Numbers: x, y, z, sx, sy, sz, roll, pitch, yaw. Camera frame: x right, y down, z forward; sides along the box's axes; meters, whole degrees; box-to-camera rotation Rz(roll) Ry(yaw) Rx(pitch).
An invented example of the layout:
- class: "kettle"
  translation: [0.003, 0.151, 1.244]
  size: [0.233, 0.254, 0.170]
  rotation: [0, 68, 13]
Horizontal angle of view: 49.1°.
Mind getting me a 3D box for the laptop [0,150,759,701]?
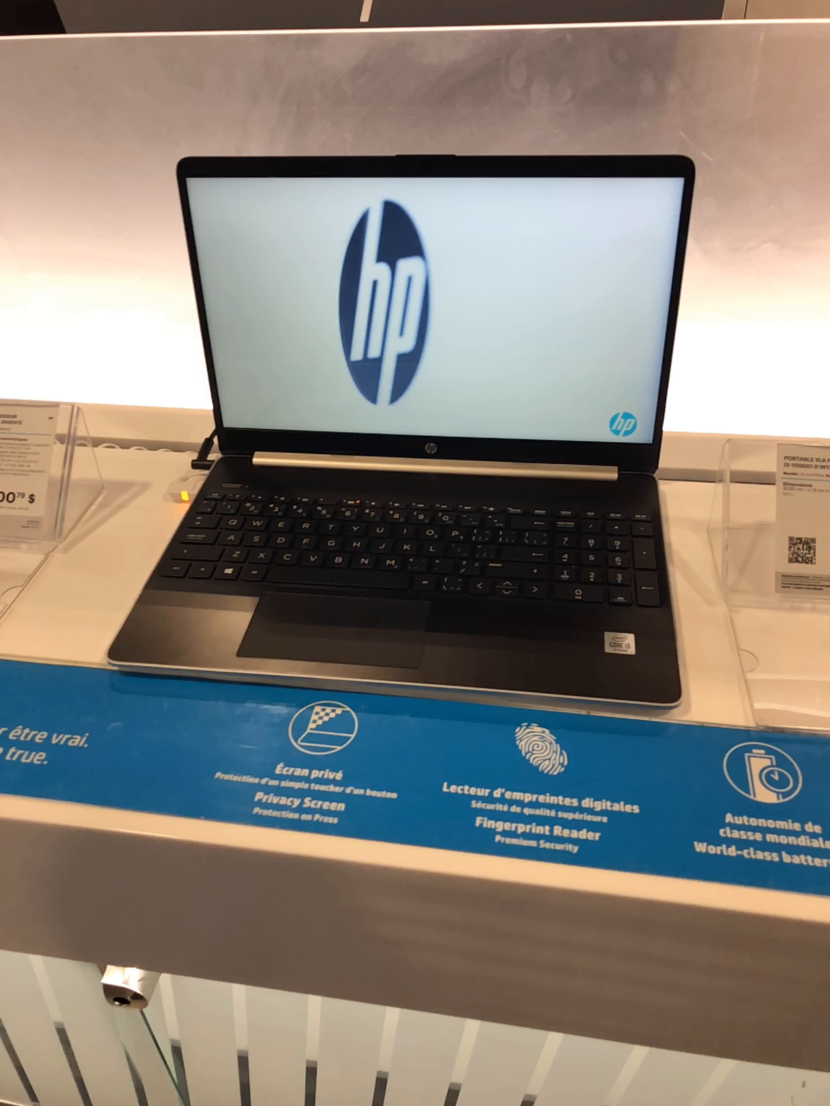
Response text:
- class: "laptop"
  translation: [-0.002, -0.102, 0.593]
  size: [0.355, 0.221, 0.284]
  rotation: [3, 39, 8]
